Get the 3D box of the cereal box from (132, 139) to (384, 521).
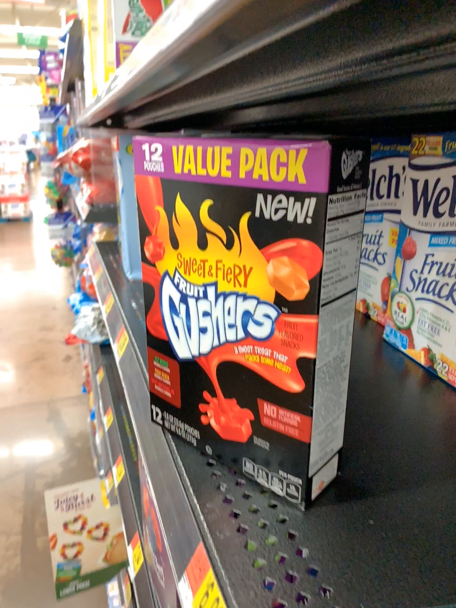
[{"bbox_3d":[0.012,0.006,0.316,0.150,0.219,0.050,16,26,39],"label":"cereal box"}]
